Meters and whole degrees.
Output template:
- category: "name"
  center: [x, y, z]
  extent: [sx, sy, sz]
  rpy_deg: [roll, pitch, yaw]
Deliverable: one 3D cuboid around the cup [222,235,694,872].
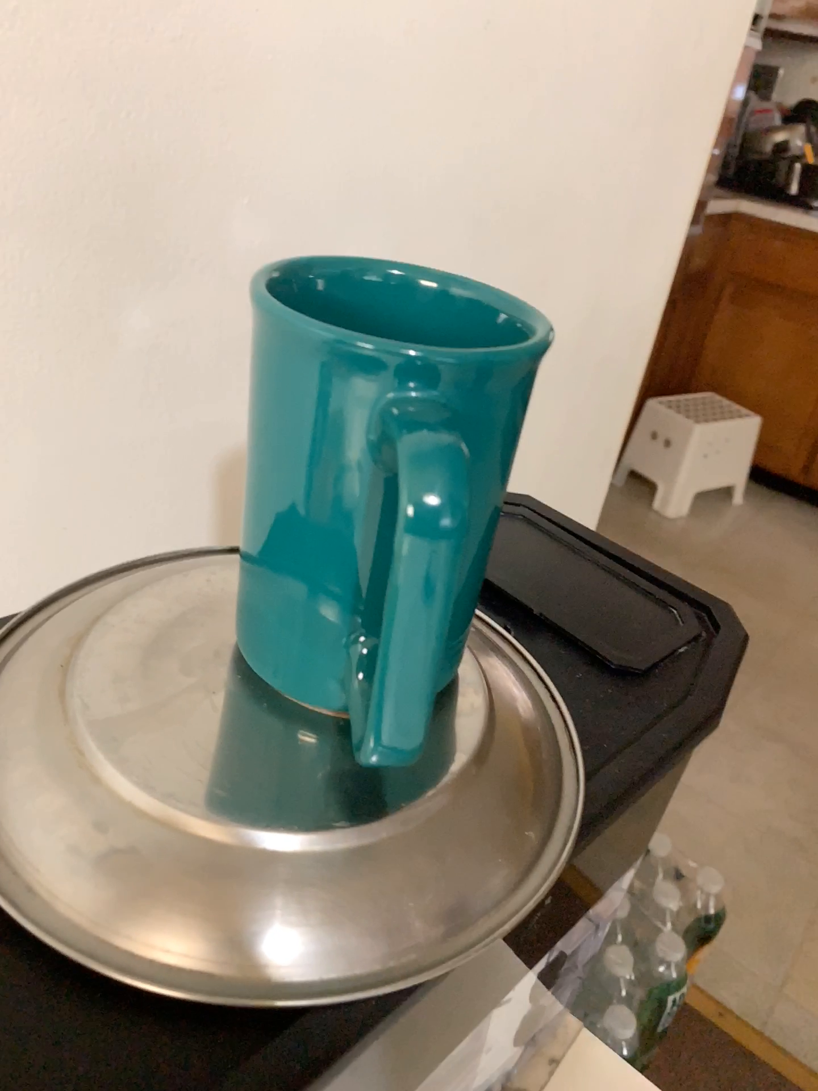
- category: "cup"
  center: [-0.006, -0.005, 0.230]
  extent: [0.080, 0.119, 0.121]
  rpy_deg: [2, 31, -15]
